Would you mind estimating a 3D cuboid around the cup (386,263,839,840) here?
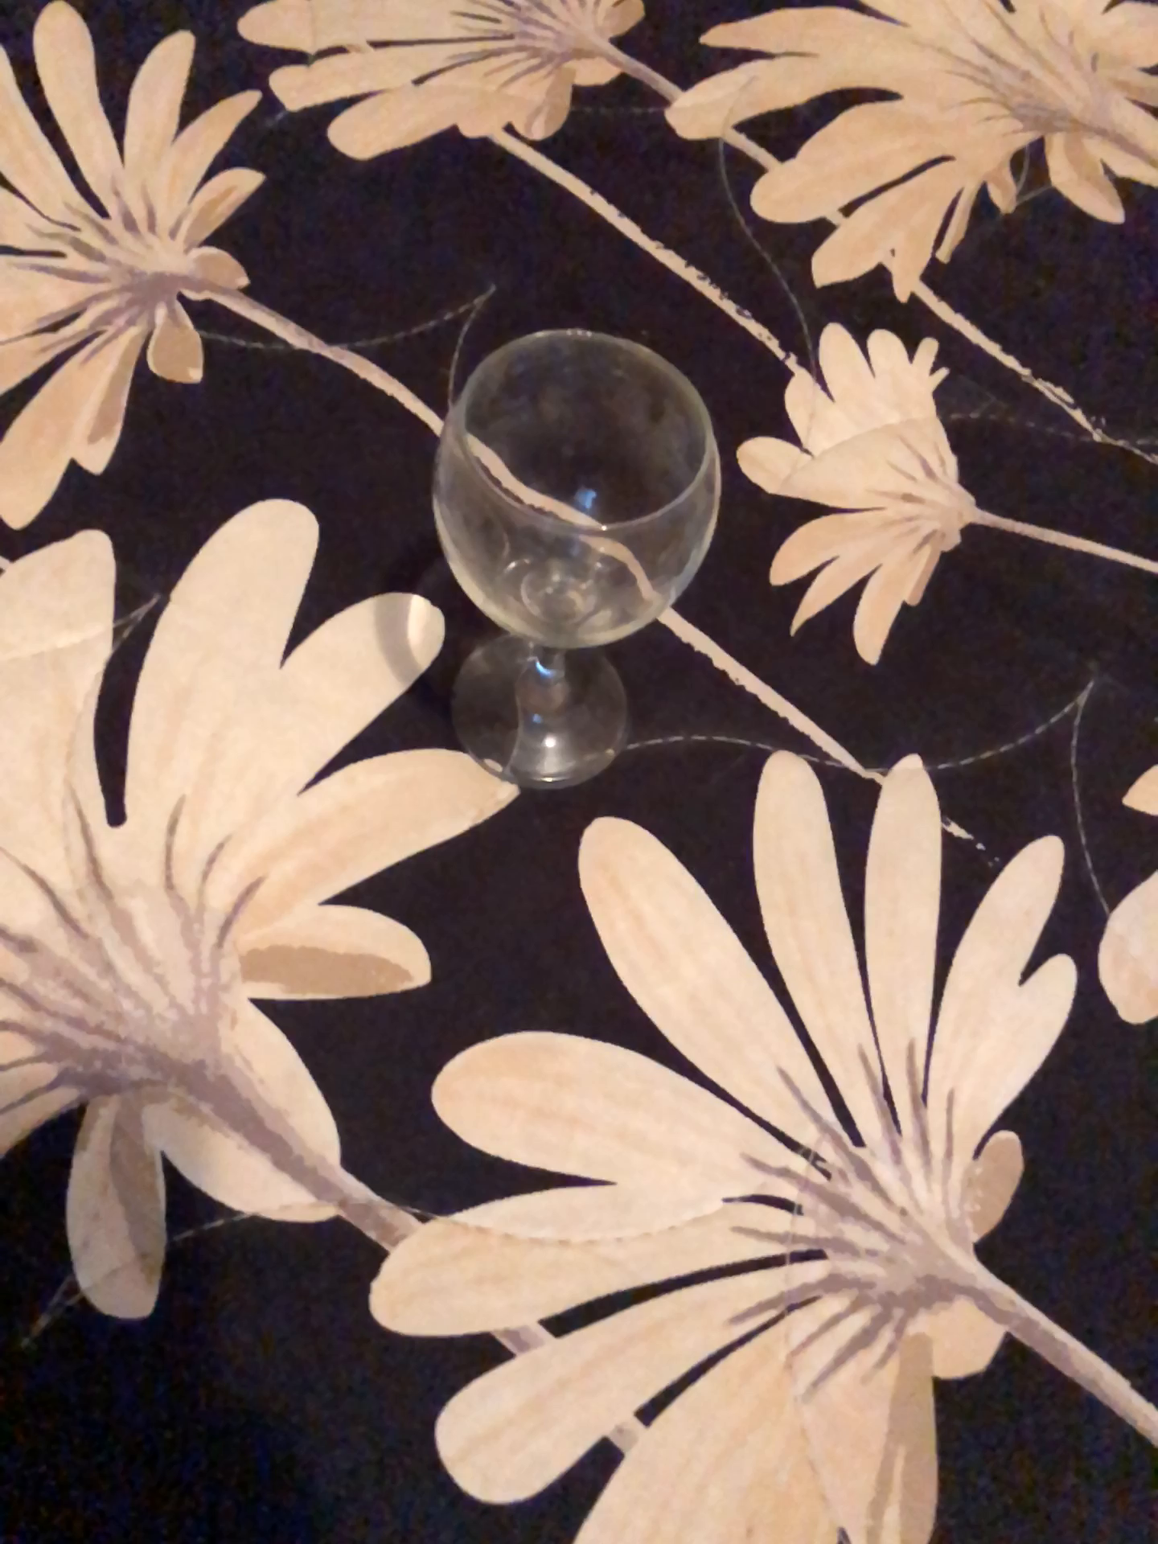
[{"bbox_3d":[0.000,-0.057,0.377,0.084,0.139,0.082,3,64,-6],"label":"cup"}]
